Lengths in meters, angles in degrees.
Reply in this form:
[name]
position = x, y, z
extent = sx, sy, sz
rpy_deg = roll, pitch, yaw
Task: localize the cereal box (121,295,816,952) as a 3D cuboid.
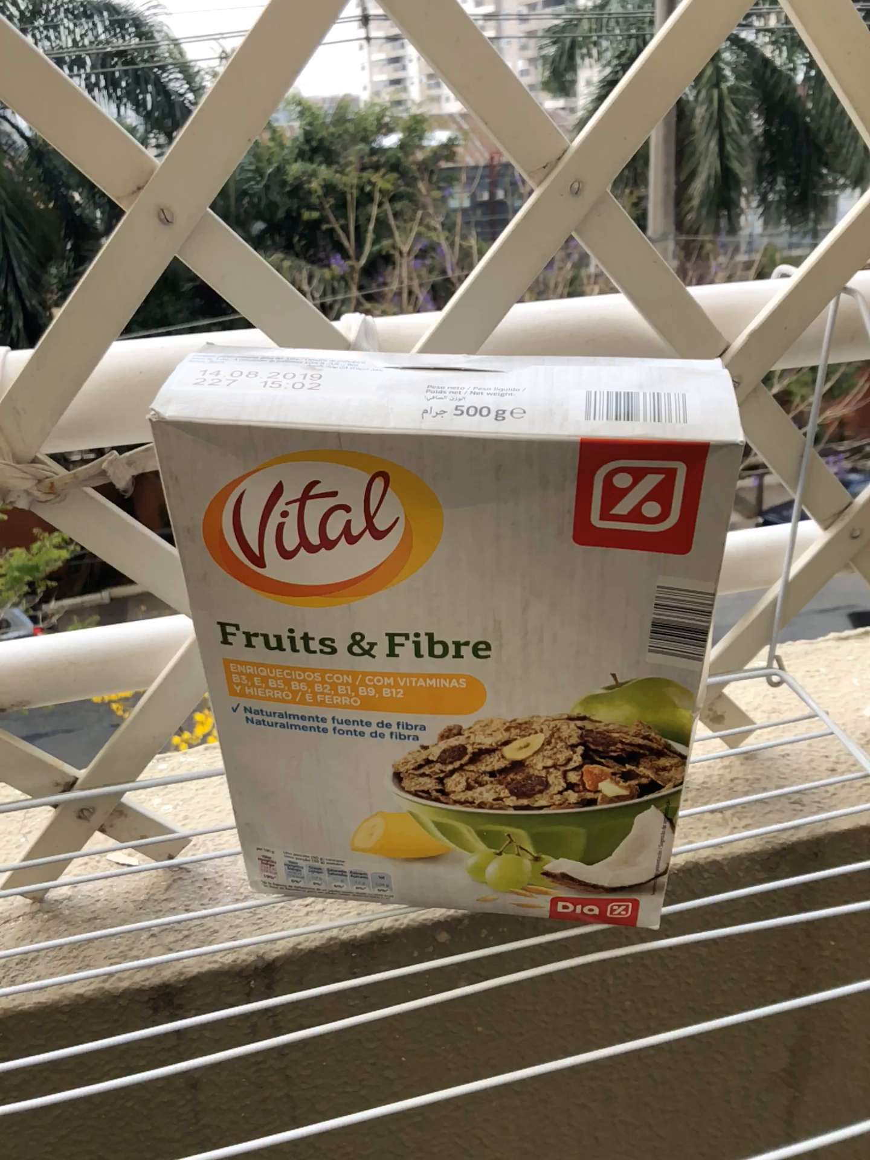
[cereal box]
position = 0.015, 0.029, 0.393
extent = 0.210, 0.268, 0.071
rpy_deg = 4, 36, 9
